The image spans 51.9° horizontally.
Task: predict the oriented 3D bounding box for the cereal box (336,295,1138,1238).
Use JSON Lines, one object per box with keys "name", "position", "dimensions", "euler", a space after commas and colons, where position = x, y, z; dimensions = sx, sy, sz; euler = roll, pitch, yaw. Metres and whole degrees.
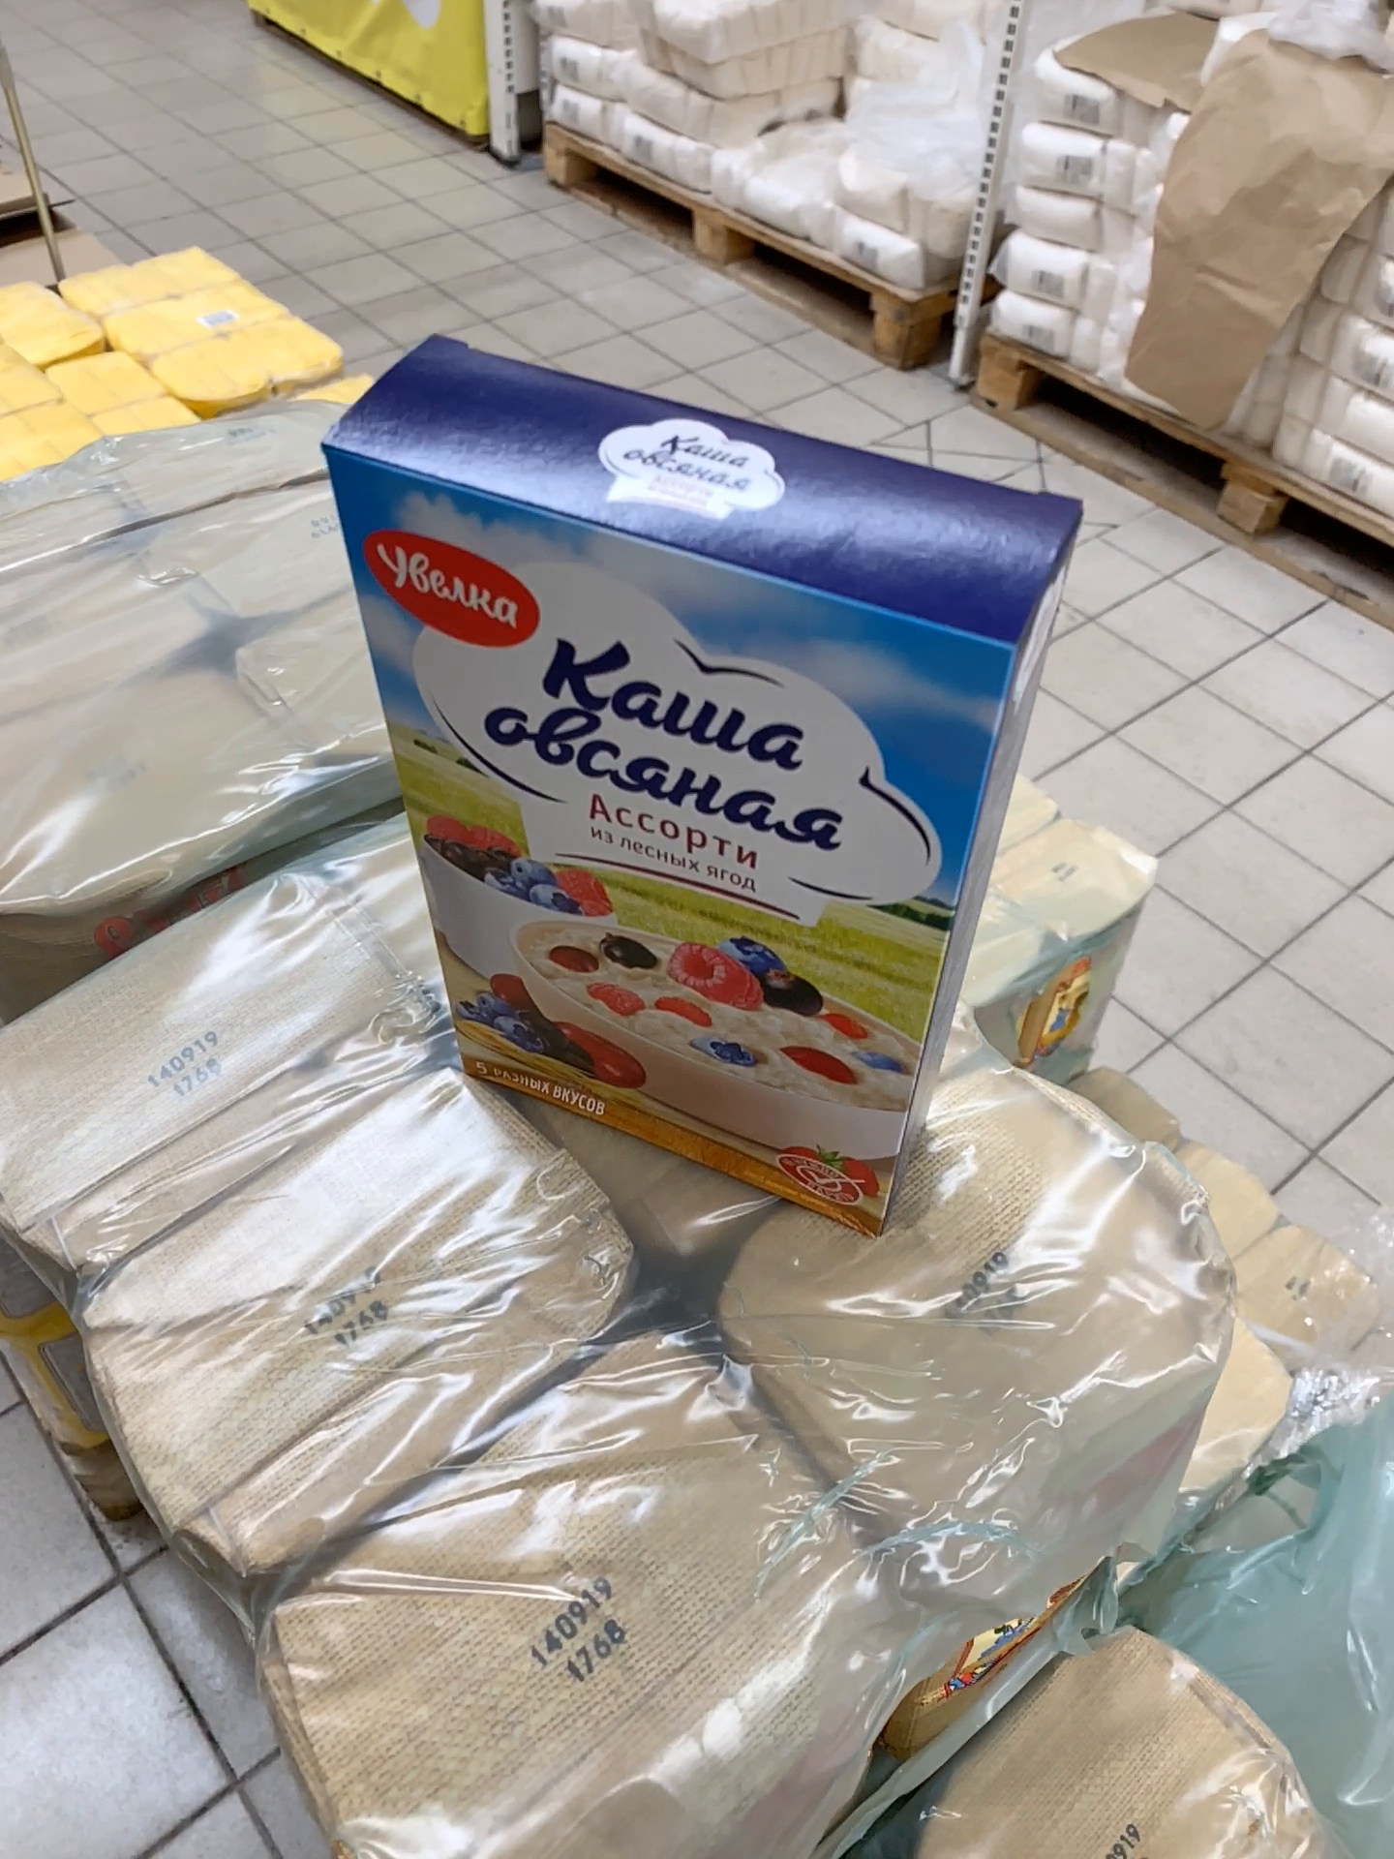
{"name": "cereal box", "position": [0.004, -0.022, 0.324], "dimensions": [0.130, 0.198, 0.050], "euler": [19, 52, 14]}
